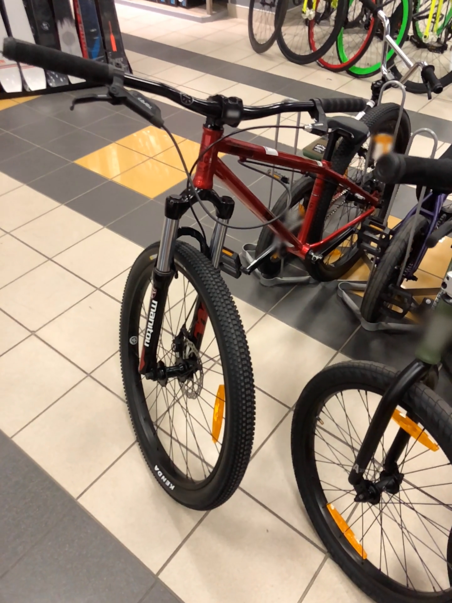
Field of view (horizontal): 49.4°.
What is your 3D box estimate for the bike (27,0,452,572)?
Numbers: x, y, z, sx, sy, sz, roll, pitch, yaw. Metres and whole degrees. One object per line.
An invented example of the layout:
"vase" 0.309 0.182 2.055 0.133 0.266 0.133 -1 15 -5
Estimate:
"bike" 0.295 -0.297 1.378 0.713 0.998 1.342 22 46 22
